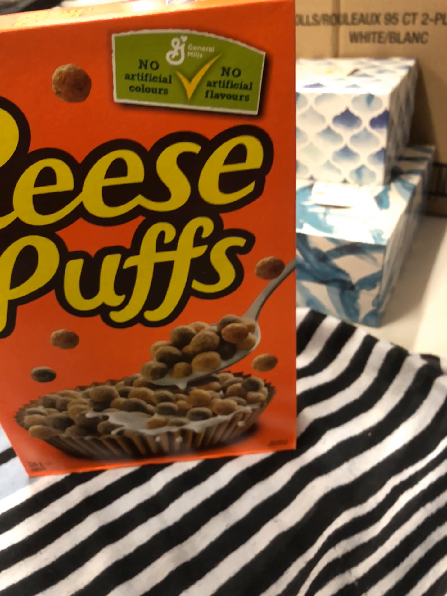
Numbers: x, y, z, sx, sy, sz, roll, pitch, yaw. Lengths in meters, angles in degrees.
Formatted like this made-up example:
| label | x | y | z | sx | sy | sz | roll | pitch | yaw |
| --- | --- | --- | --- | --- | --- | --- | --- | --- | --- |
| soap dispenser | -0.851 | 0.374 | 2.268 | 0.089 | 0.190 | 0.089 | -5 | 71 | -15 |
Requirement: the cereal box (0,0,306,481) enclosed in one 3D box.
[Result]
| label | x | y | z | sx | sy | sz | roll | pitch | yaw |
| --- | --- | --- | --- | --- | --- | --- | --- | --- | --- |
| cereal box | -0.064 | -0.010 | 0.272 | 0.210 | 0.269 | 0.040 | -6 | 36 | 1 |
